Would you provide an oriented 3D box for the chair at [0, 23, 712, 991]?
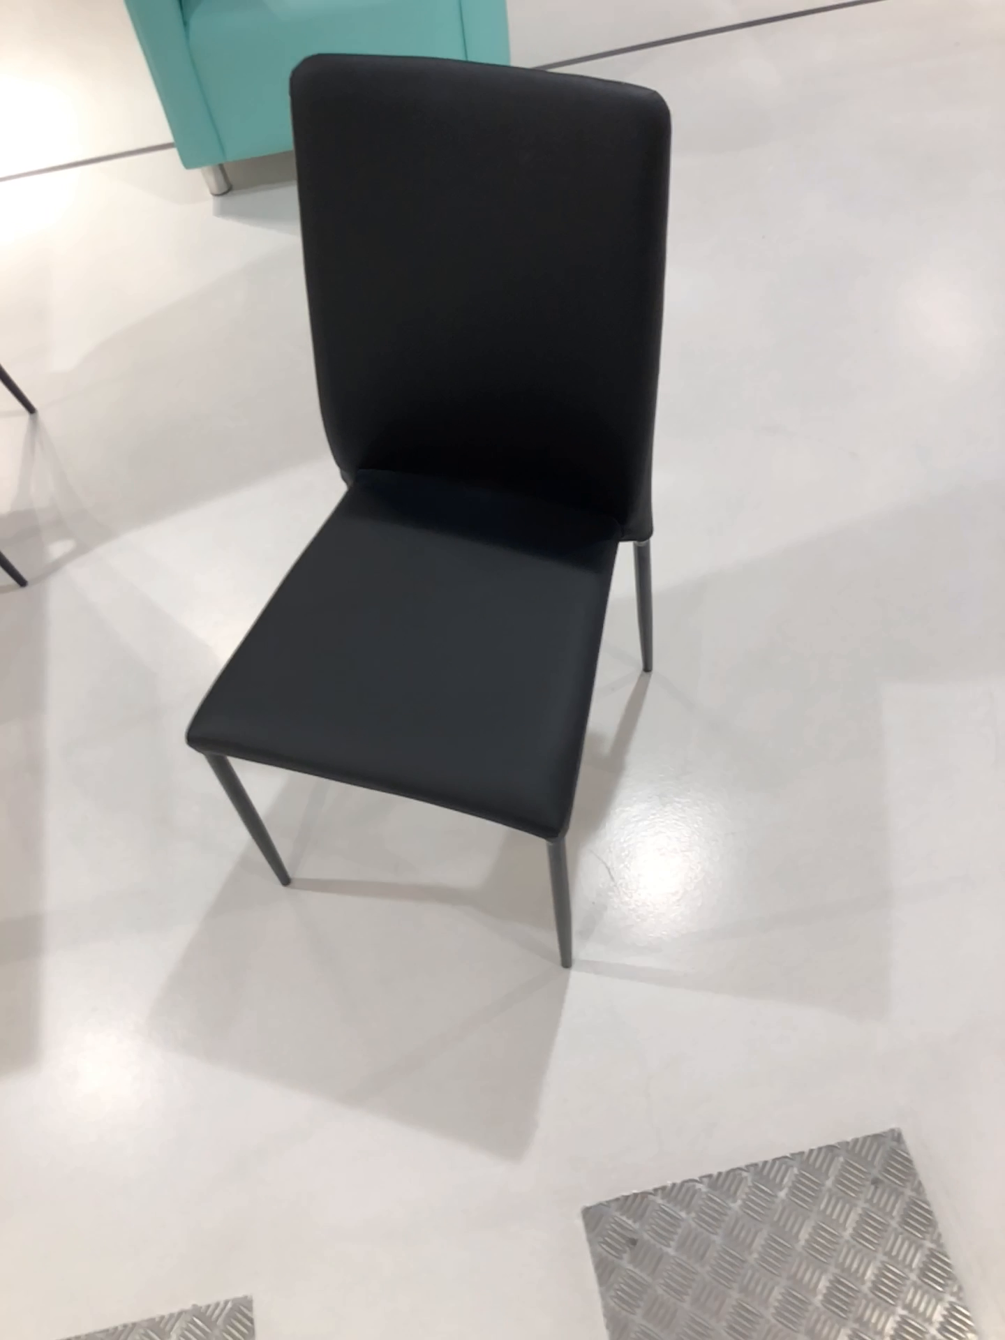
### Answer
[{"bbox_3d":[-0.078,-0.109,1.246,0.450,0.866,0.602,12,60,13],"label":"chair"}]
